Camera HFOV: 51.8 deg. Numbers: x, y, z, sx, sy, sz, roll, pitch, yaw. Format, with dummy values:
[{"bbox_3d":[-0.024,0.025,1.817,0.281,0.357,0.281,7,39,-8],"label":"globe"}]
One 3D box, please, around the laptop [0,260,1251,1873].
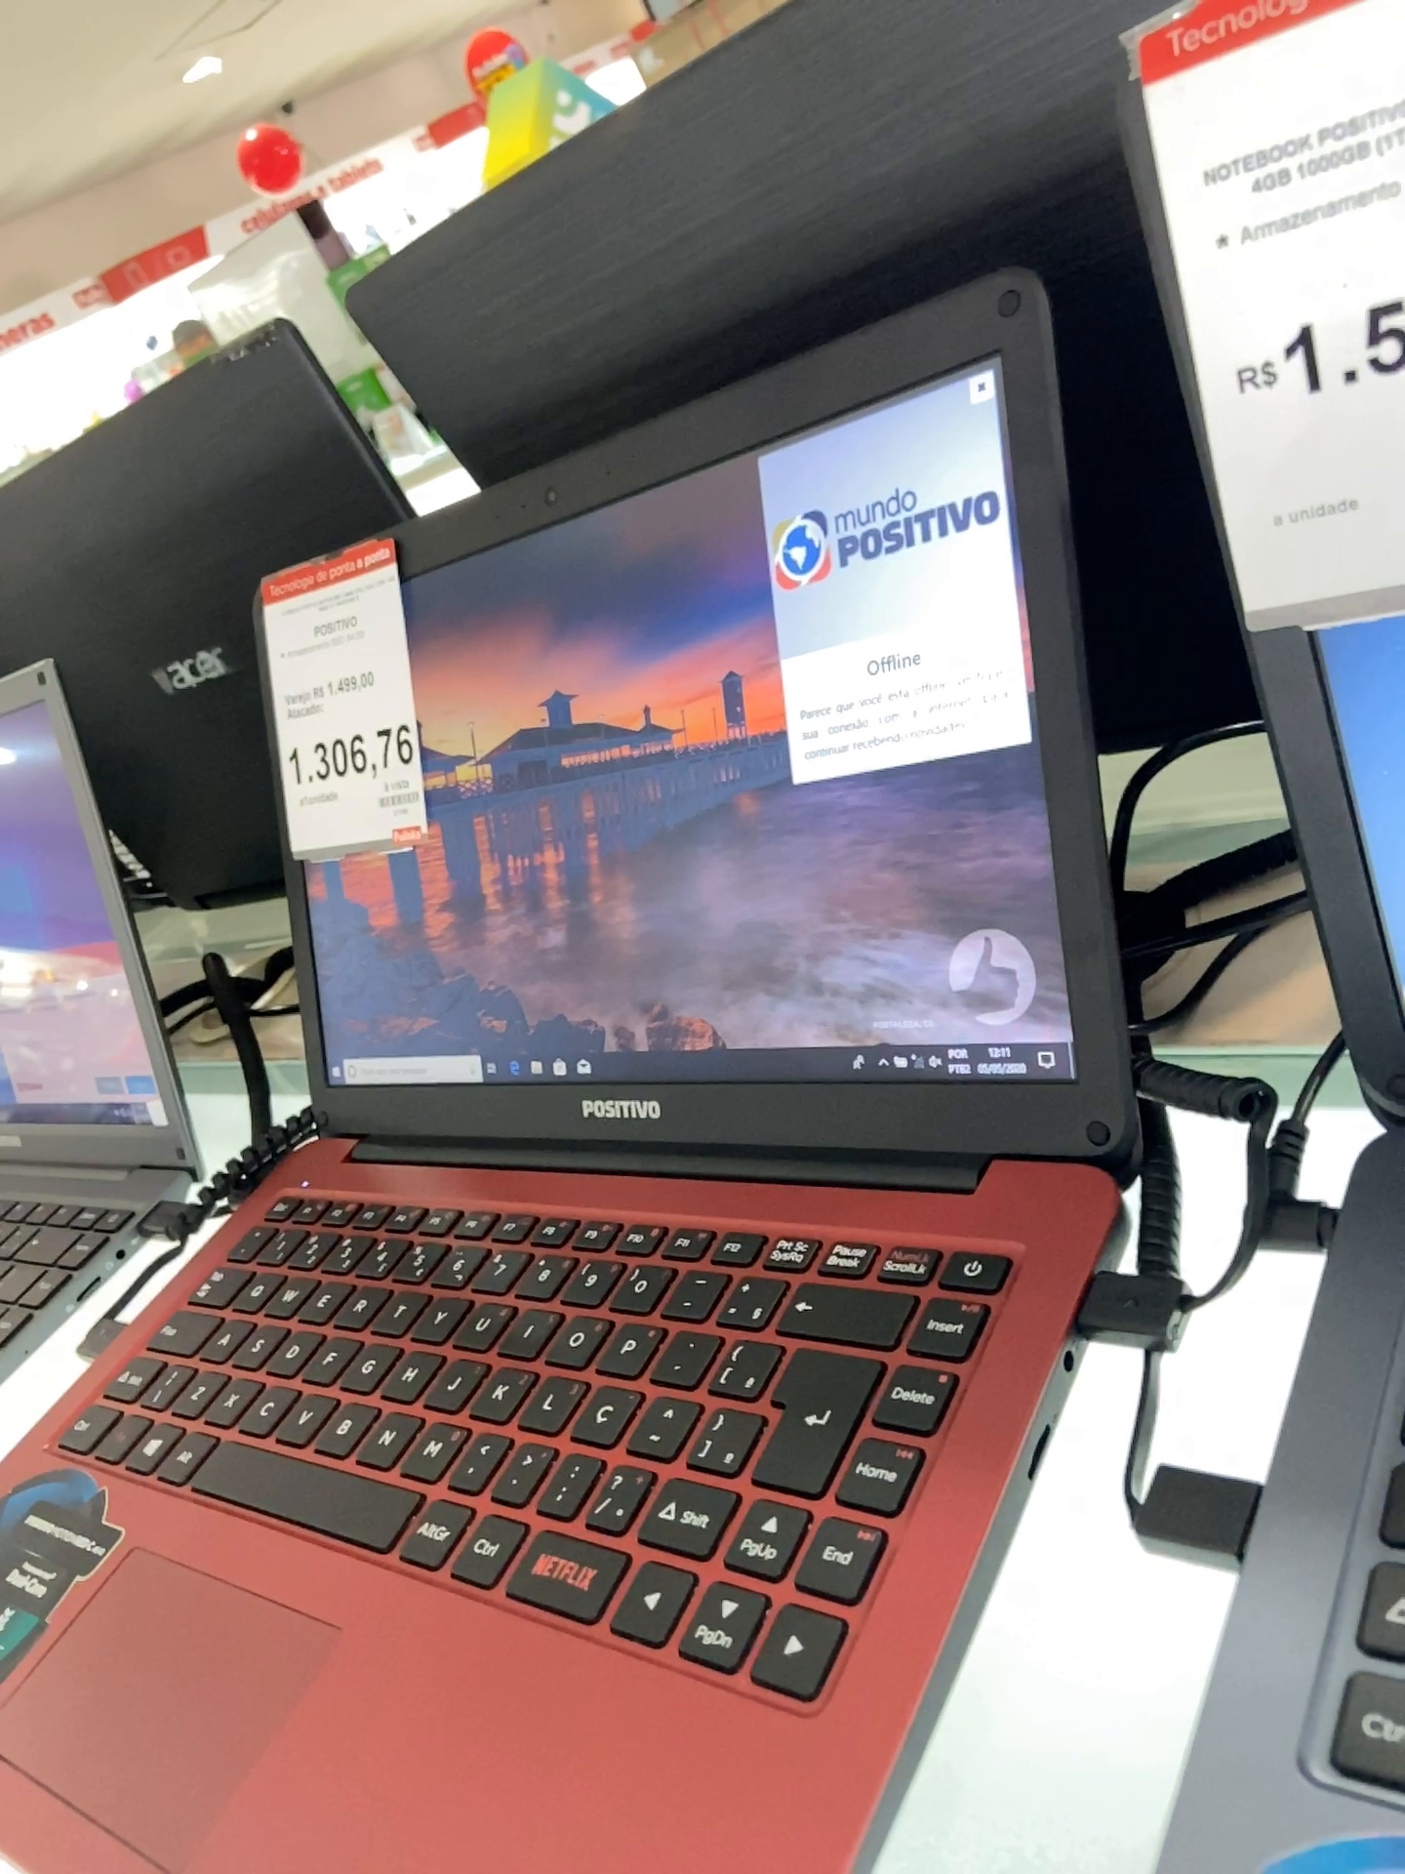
[{"bbox_3d":[-0.090,0.028,0.362,0.321,0.167,0.334,-6,34,41],"label":"laptop"}]
